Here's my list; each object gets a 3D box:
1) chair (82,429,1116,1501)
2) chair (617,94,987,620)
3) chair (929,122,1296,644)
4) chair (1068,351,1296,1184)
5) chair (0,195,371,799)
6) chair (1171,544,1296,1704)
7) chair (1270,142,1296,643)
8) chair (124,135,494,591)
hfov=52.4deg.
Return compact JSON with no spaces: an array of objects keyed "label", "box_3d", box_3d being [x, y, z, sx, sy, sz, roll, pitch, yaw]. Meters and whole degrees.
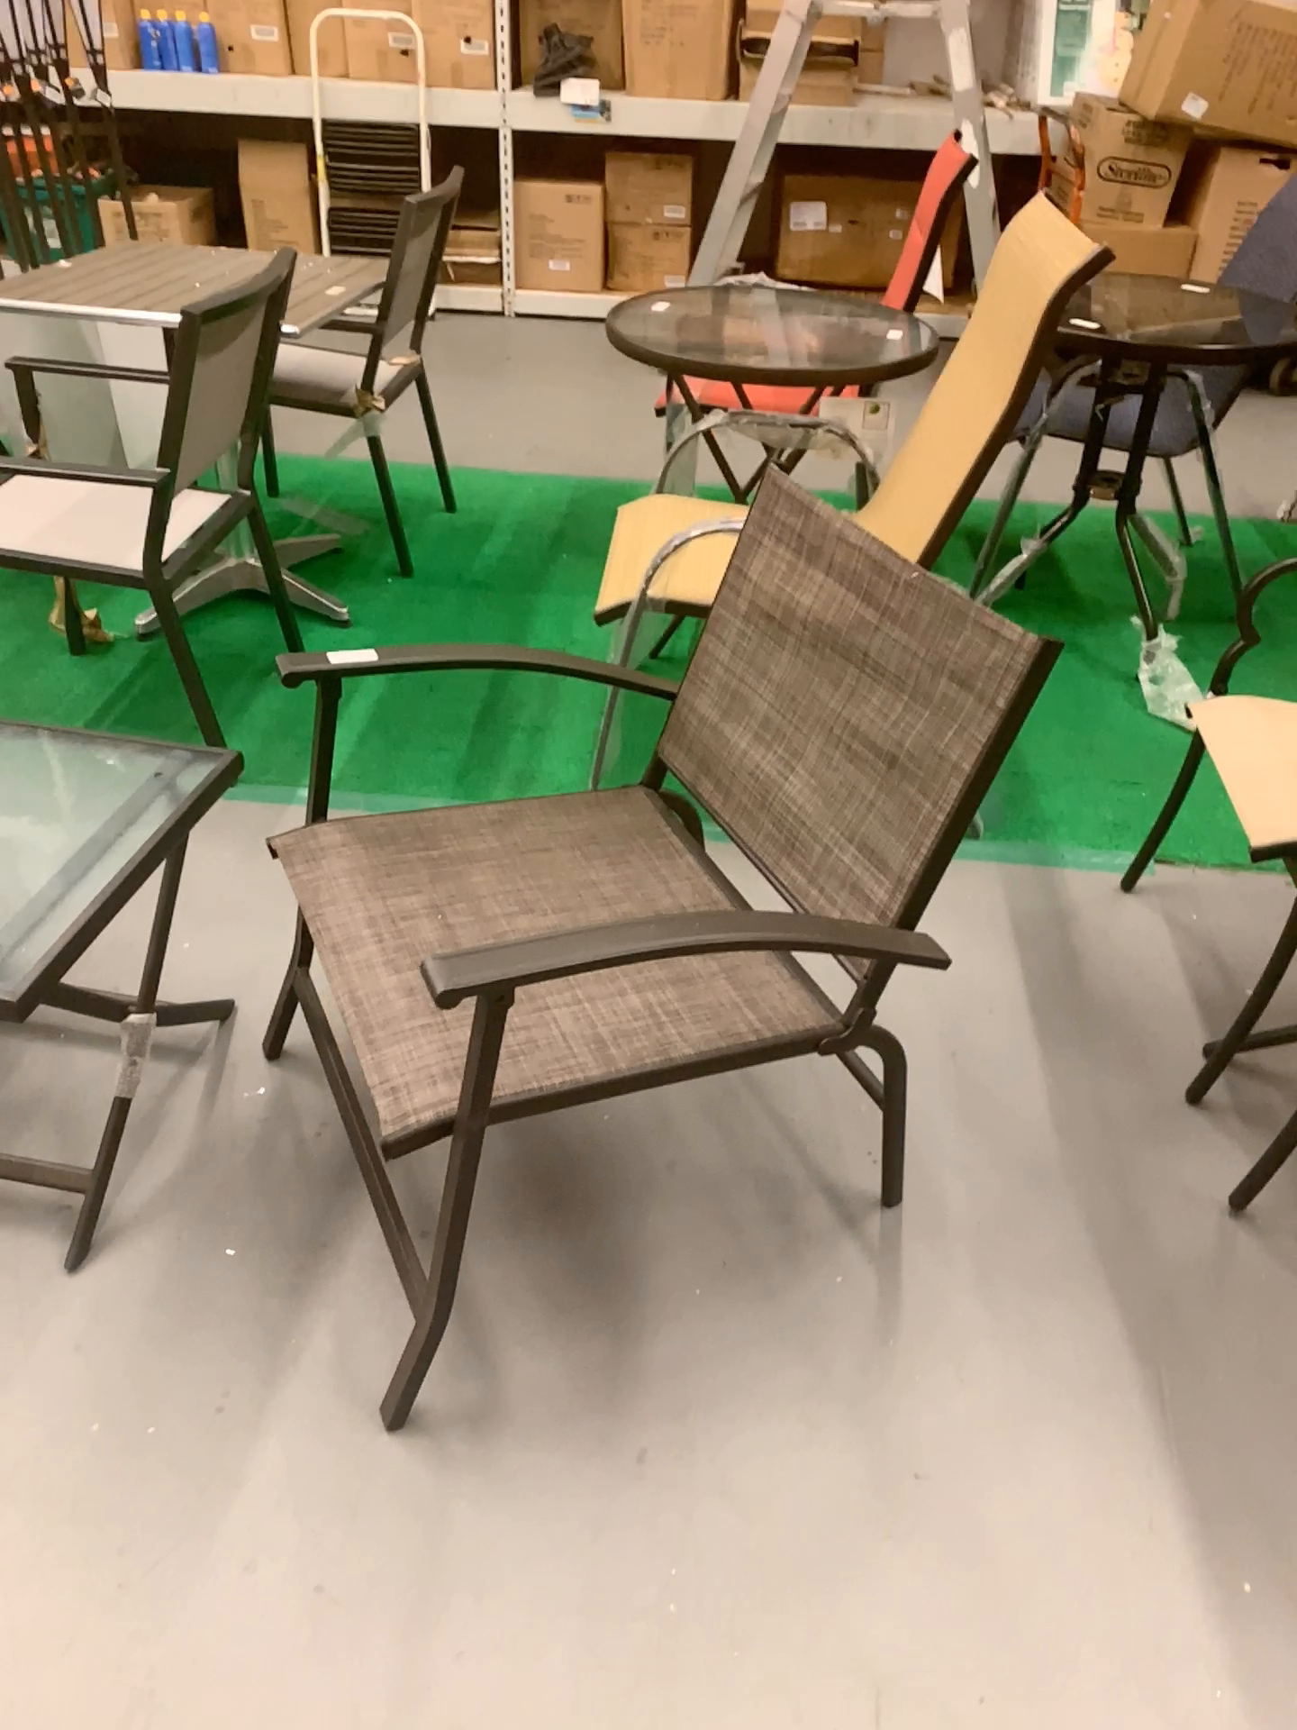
[{"label":"chair","box_3d":[-0.101,0.044,1.471,0.769,0.778,0.677,-14,39,-22]},{"label":"chair","box_3d":[0.342,-1.208,3.123,0.668,0.956,0.678,9,36,5]},{"label":"chair","box_3d":[1.199,-1.168,3.179,0.768,0.957,0.738,5,36,0]},{"label":"chair","box_3d":[1.022,-0.124,1.701,0.628,0.837,0.577,5,35,0]},{"label":"chair","box_3d":[-0.914,-0.662,2.358,0.628,0.827,0.557,9,36,6]},{"label":"chair","box_3d":[1.003,0.241,1.175,0.628,0.847,0.557,2,35,-6]},{"label":"chair","box_3d":[2.332,-1.232,3.430,0.868,0.996,0.698,7,36,2]},{"label":"chair","box_3d":[-0.752,-1.198,3.142,0.628,0.837,0.557,9,36,6]}]
